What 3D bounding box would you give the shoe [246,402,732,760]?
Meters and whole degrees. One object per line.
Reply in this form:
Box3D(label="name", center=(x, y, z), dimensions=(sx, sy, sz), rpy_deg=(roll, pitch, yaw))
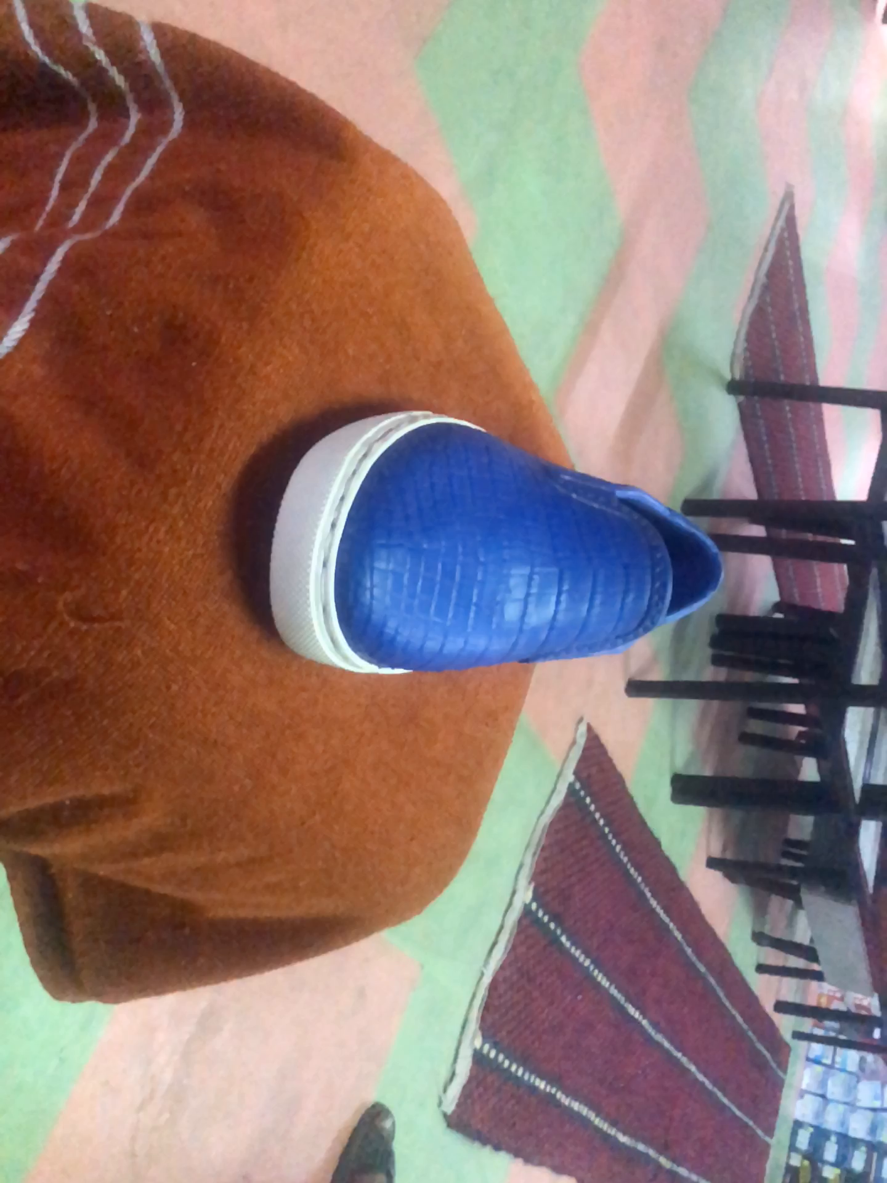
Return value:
Box3D(label="shoe", center=(0.046, -0.015, 0.448), dimensions=(0.302, 0.079, 0.110), rpy_deg=(-7, 101, -58))
